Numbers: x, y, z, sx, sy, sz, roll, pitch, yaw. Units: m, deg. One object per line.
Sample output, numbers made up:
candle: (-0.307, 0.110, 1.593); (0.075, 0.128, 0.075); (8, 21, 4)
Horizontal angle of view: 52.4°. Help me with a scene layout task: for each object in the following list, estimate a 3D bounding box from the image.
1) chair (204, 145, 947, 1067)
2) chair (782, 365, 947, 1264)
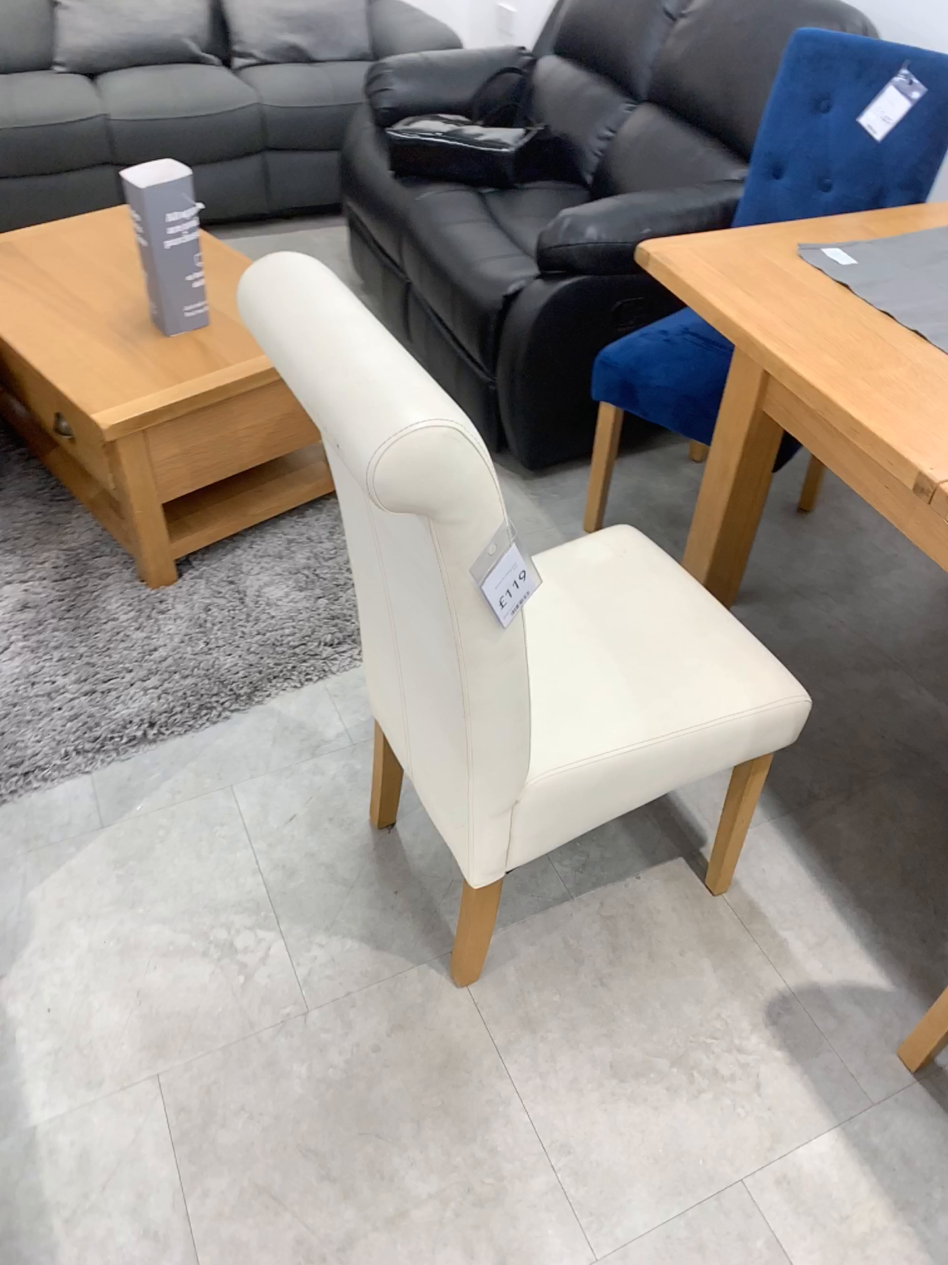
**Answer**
chair: (0.092, -0.012, 1.235); (0.592, 0.935, 0.517); (-18, 47, -21)
chair: (0.818, 0.298, 1.001); (0.582, 0.905, 0.487); (-16, 46, -18)
